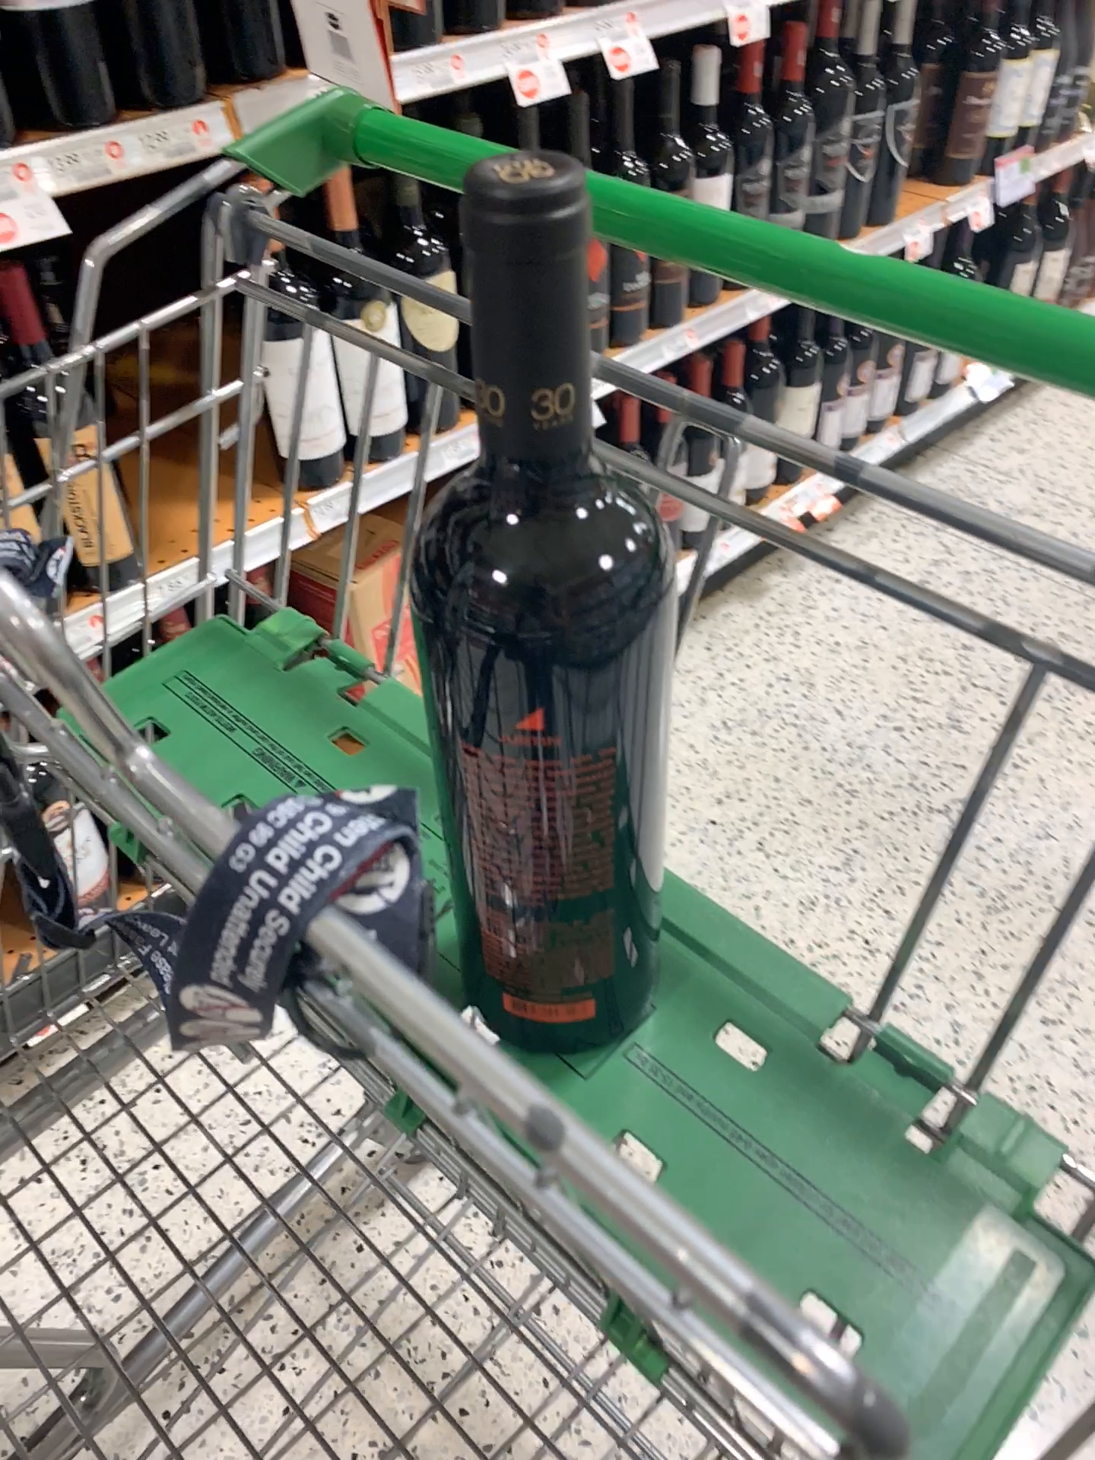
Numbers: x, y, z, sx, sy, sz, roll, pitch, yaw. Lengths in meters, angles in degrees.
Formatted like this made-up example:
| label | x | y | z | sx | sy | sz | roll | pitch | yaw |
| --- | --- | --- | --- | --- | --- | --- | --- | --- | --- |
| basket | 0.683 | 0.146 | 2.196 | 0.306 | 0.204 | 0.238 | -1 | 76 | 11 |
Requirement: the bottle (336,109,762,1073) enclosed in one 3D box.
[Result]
| label | x | y | z | sx | sy | sz | roll | pitch | yaw |
| --- | --- | --- | --- | --- | --- | --- | --- | --- | --- |
| bottle | 0.005 | -0.013 | 0.341 | 0.080 | 0.297 | 0.081 | -1 | 43 | 1 |
